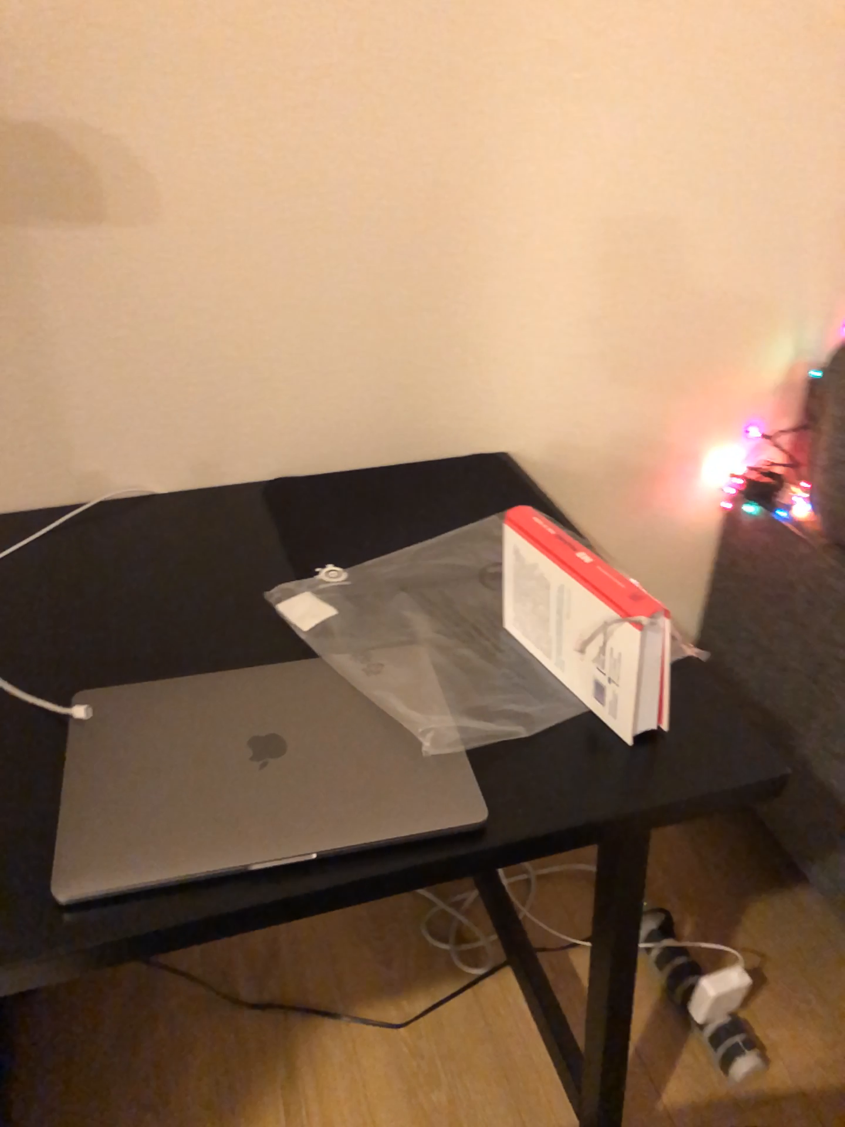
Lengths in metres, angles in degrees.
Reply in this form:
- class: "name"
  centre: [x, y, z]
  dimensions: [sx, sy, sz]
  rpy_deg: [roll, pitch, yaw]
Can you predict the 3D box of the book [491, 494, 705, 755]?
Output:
- class: "book"
  centre: [0.140, 0.046, 0.803]
  dimensions: [0.050, 0.129, 0.201]
  rpy_deg: [-14, 36, -26]
